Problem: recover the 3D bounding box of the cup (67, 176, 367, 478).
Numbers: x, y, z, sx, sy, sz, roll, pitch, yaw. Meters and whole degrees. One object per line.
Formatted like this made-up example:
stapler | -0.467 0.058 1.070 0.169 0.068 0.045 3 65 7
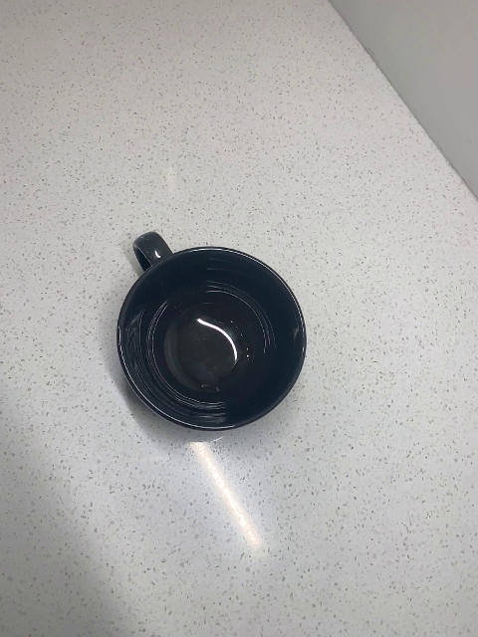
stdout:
cup | -0.015 0.005 0.291 0.110 0.060 0.130 -28 79 -15
